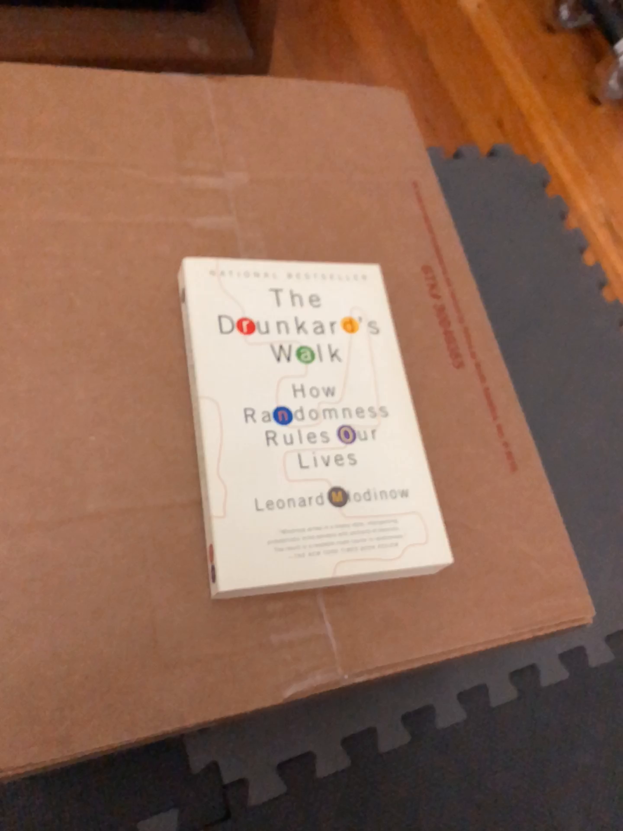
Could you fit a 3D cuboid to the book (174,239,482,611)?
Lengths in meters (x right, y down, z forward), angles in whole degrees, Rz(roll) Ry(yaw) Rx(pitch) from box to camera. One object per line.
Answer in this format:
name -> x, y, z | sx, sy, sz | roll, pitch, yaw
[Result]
book -> 0.002, -0.005, 0.411 | 0.140, 0.040, 0.211 | -3, 66, -18
